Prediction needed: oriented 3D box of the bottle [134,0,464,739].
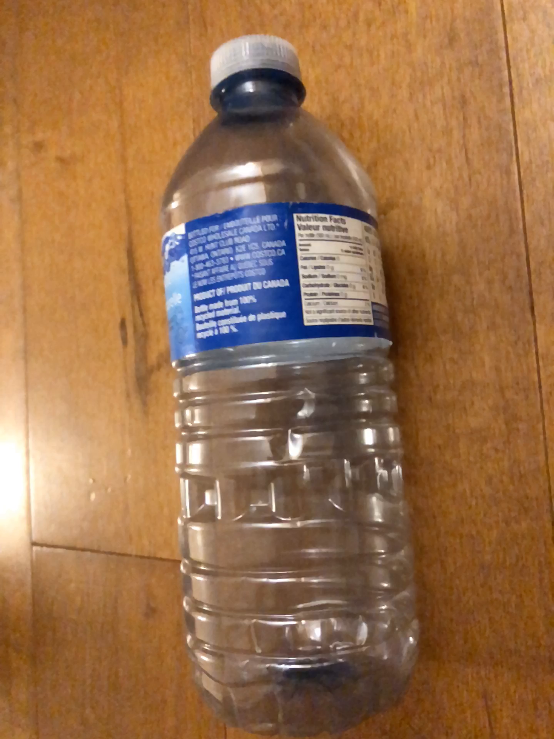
[{"bbox_3d":[0.000,-0.008,0.191,0.070,0.070,0.200,-3,83,-5],"label":"bottle"}]
